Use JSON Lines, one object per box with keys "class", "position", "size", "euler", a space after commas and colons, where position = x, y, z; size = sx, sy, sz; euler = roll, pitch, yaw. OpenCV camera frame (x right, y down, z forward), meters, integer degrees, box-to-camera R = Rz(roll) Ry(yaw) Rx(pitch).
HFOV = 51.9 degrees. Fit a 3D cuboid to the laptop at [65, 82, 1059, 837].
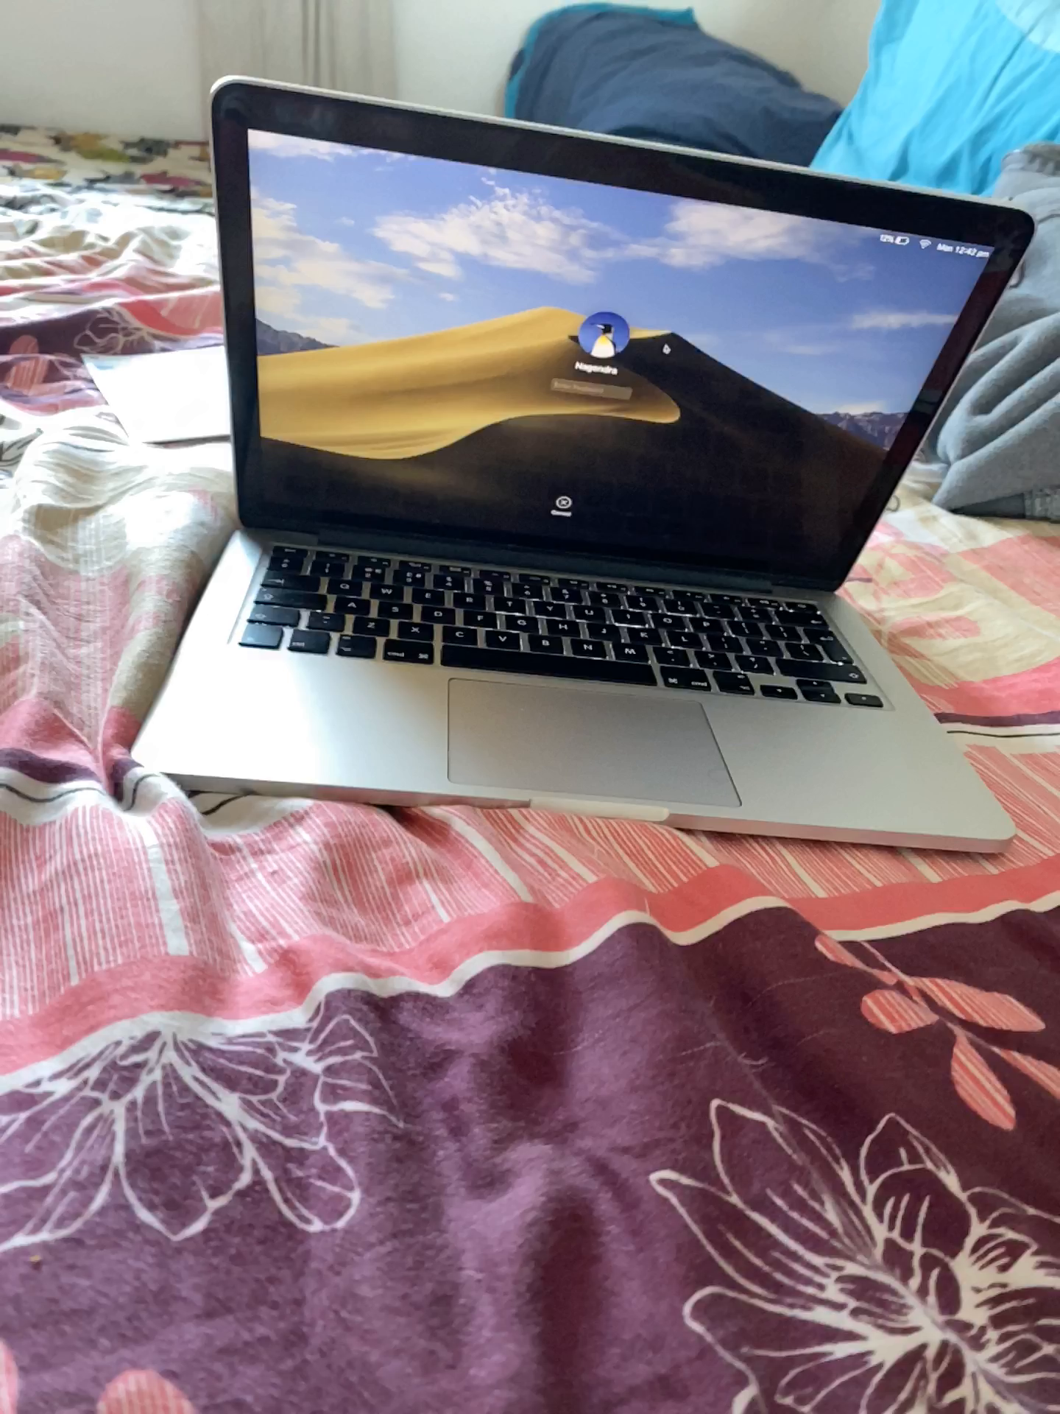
{"class": "laptop", "position": [0.026, -0.101, 0.409], "size": [0.303, 0.191, 0.203], "euler": [5, 31, -6]}
